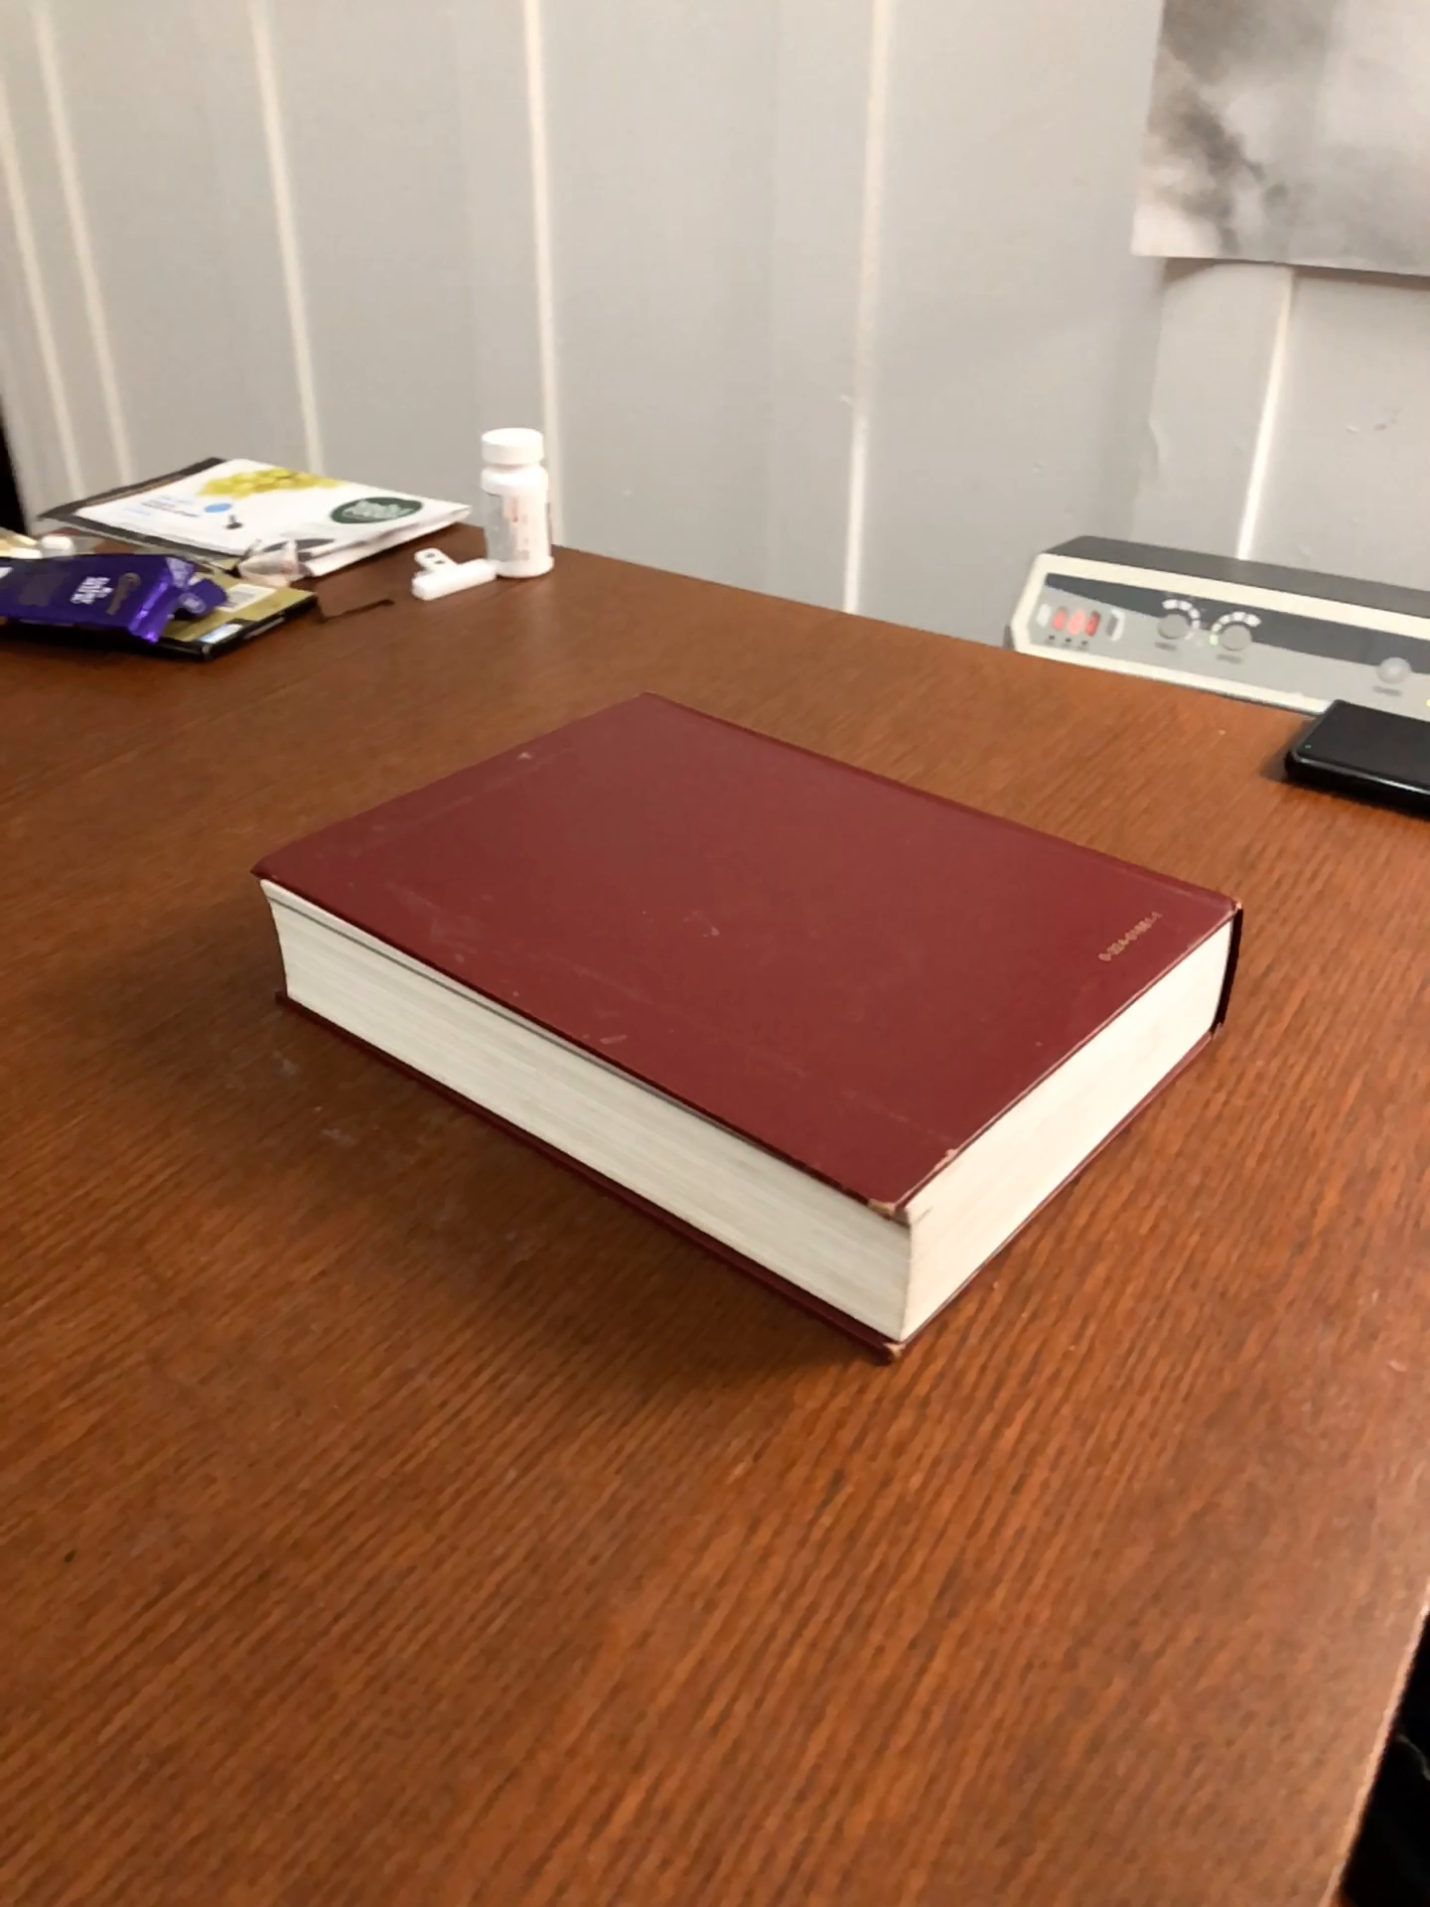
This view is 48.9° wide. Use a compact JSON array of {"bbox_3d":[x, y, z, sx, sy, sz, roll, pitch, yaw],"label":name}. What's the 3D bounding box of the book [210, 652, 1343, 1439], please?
[{"bbox_3d":[0.017,-0.003,0.523,0.291,0.070,0.221,24,38,33],"label":"book"}]
